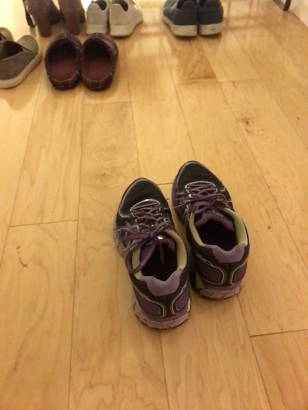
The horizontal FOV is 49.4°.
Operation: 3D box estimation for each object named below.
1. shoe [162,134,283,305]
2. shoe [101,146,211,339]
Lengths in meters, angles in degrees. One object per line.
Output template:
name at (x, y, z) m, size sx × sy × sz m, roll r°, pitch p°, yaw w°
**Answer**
shoe at (0.093, 0.007, 0.563) m, size 0.120 × 0.079 × 0.292 m, roll -6°, pitch 48°, yaw -4°
shoe at (-0.010, 0.042, 0.538) m, size 0.110 × 0.099 × 0.292 m, roll -9°, pitch 49°, yaw -7°
